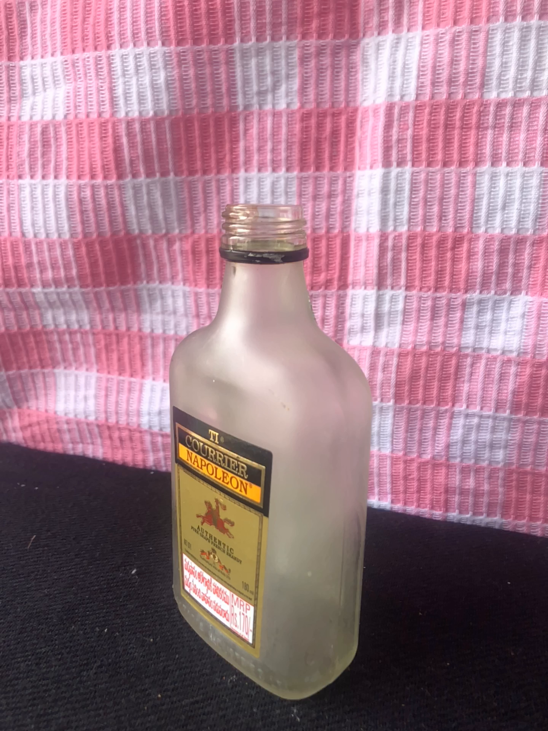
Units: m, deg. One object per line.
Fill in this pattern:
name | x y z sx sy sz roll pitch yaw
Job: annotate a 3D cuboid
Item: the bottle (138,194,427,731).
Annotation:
bottle | -0.003 0.027 0.188 0.040 0.149 0.070 -14 24 -43
